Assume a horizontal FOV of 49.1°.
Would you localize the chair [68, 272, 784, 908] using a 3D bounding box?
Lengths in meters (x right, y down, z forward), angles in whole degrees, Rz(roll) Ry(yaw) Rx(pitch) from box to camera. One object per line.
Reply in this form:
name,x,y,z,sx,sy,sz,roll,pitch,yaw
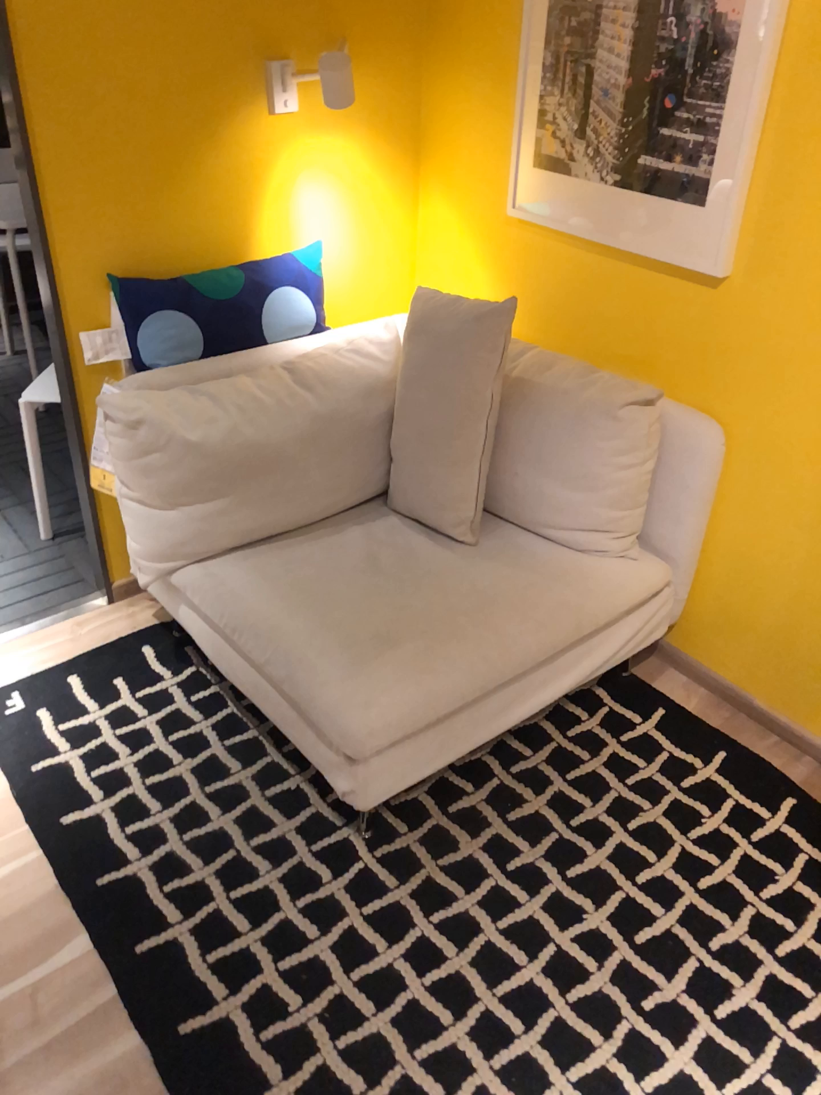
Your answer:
chair,0.011,-0.055,2.081,1.113,0.755,1.014,-22,39,-32
